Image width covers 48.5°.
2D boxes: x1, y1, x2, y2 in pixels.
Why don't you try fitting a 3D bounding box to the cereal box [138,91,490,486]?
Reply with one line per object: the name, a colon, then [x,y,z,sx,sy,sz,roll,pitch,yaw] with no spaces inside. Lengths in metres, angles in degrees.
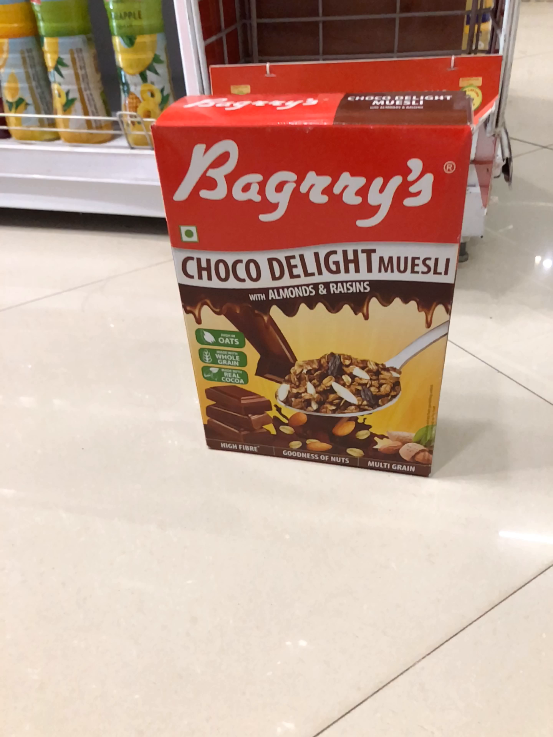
cereal box: [0.029,-0.047,0.429,0.190,0.258,0.070,6,37,13]
